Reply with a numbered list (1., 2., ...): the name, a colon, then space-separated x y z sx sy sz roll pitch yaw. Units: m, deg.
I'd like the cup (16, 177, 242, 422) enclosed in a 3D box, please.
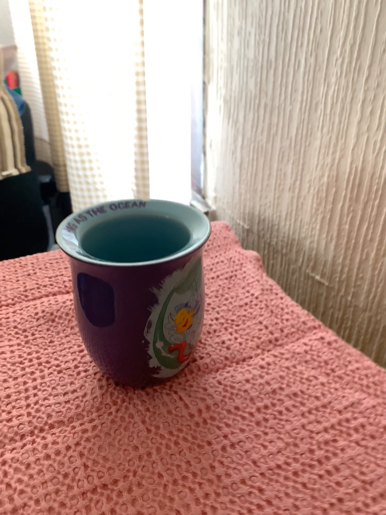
1. cup: -0.030 0.016 0.292 0.100 0.099 0.141 8 31 15
